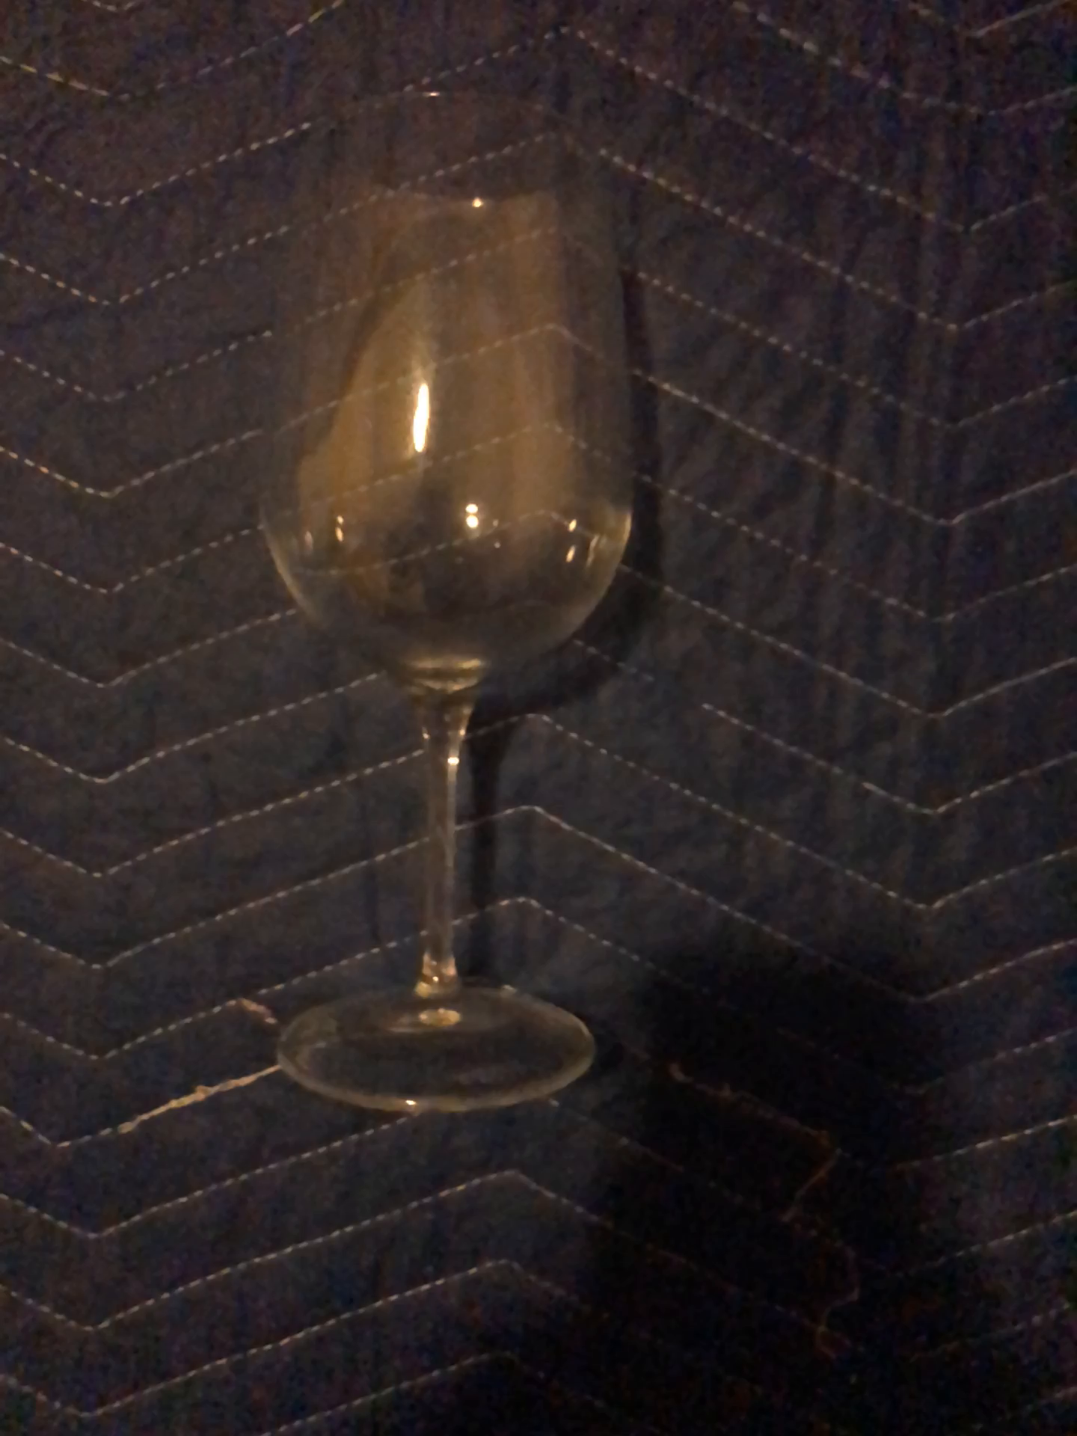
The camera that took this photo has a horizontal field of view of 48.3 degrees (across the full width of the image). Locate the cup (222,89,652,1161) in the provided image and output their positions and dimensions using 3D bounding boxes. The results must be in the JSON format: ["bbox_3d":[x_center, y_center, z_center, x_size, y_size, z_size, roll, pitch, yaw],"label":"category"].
[{"bbox_3d":[-0.021,-0.018,0.284,0.080,0.090,0.210,2,94,1],"label":"cup"}]
